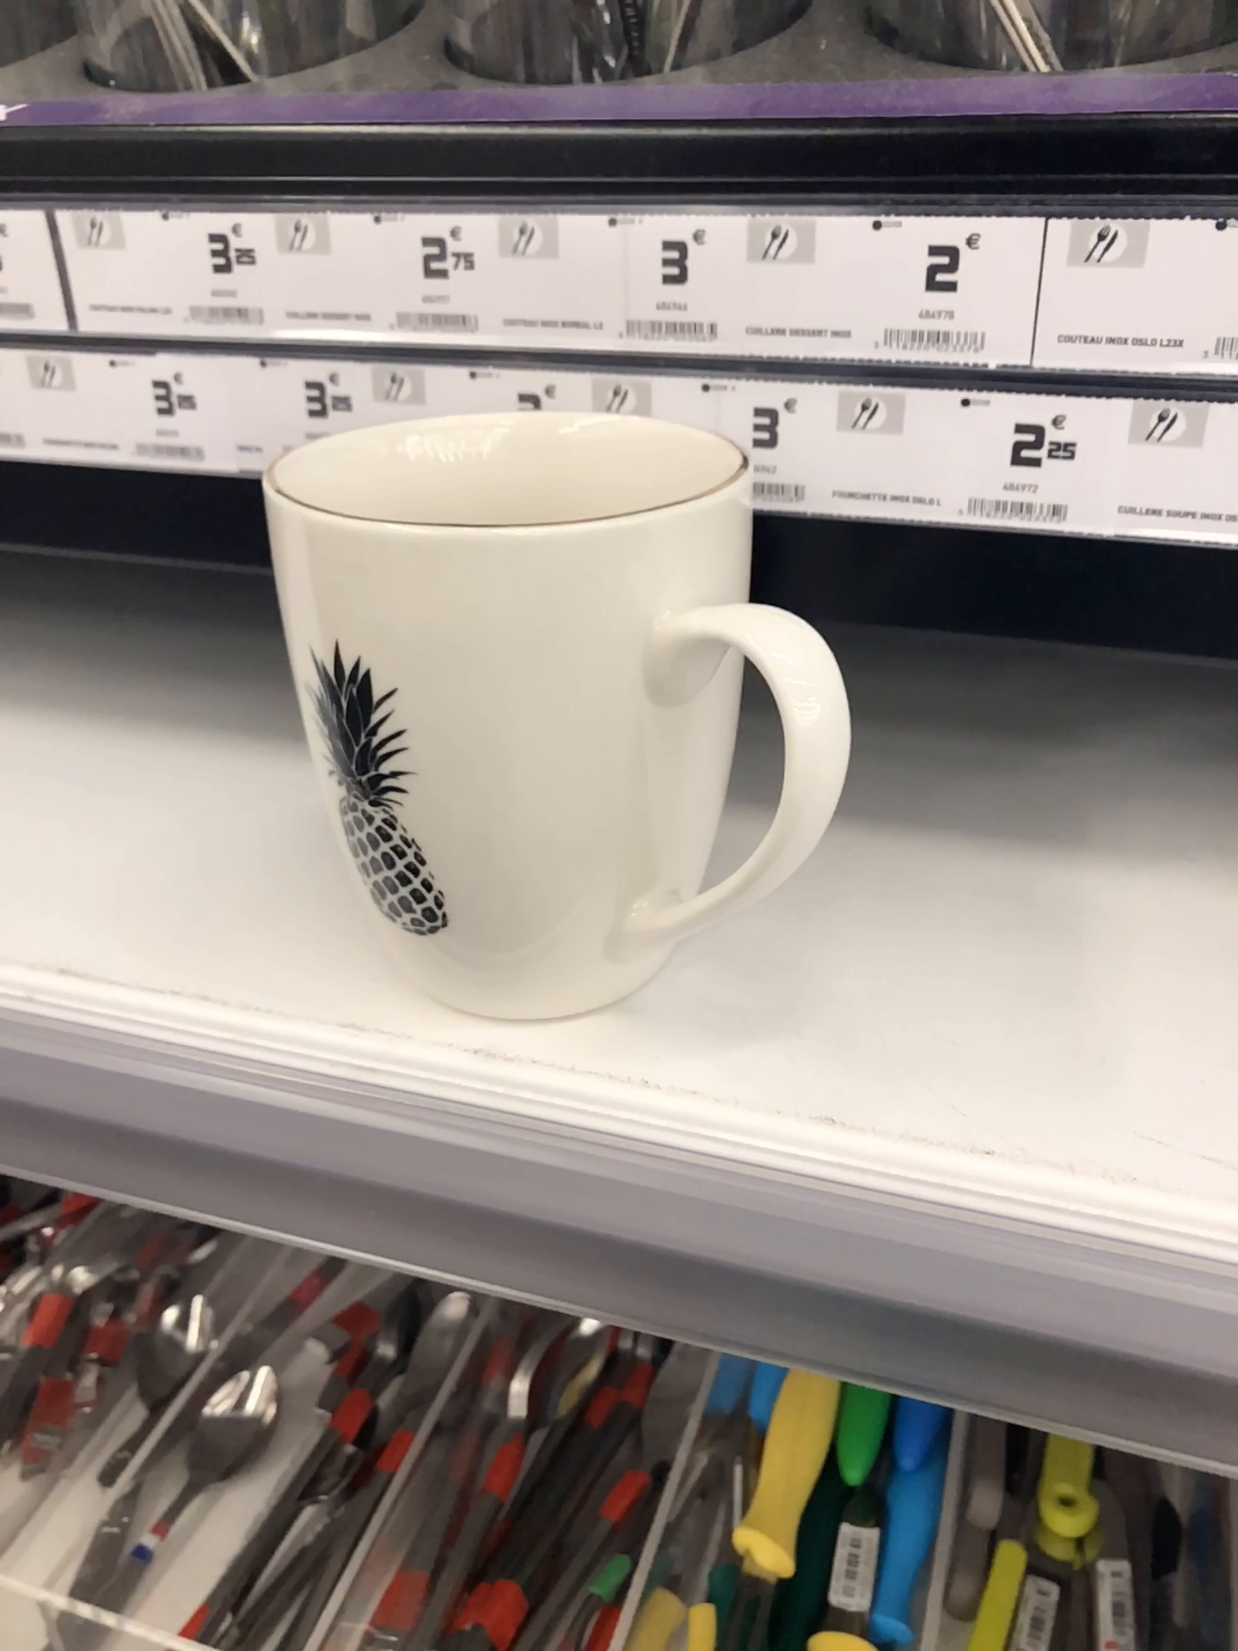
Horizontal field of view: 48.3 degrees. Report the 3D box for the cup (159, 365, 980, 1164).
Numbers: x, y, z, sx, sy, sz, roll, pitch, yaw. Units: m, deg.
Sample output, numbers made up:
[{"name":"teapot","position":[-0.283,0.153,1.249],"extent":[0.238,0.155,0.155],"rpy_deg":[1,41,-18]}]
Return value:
[{"name":"cup","position":[-0.010,-0.022,0.252],"extent":[0.083,0.093,0.114],"rpy_deg":[-26,36,-35]}]
